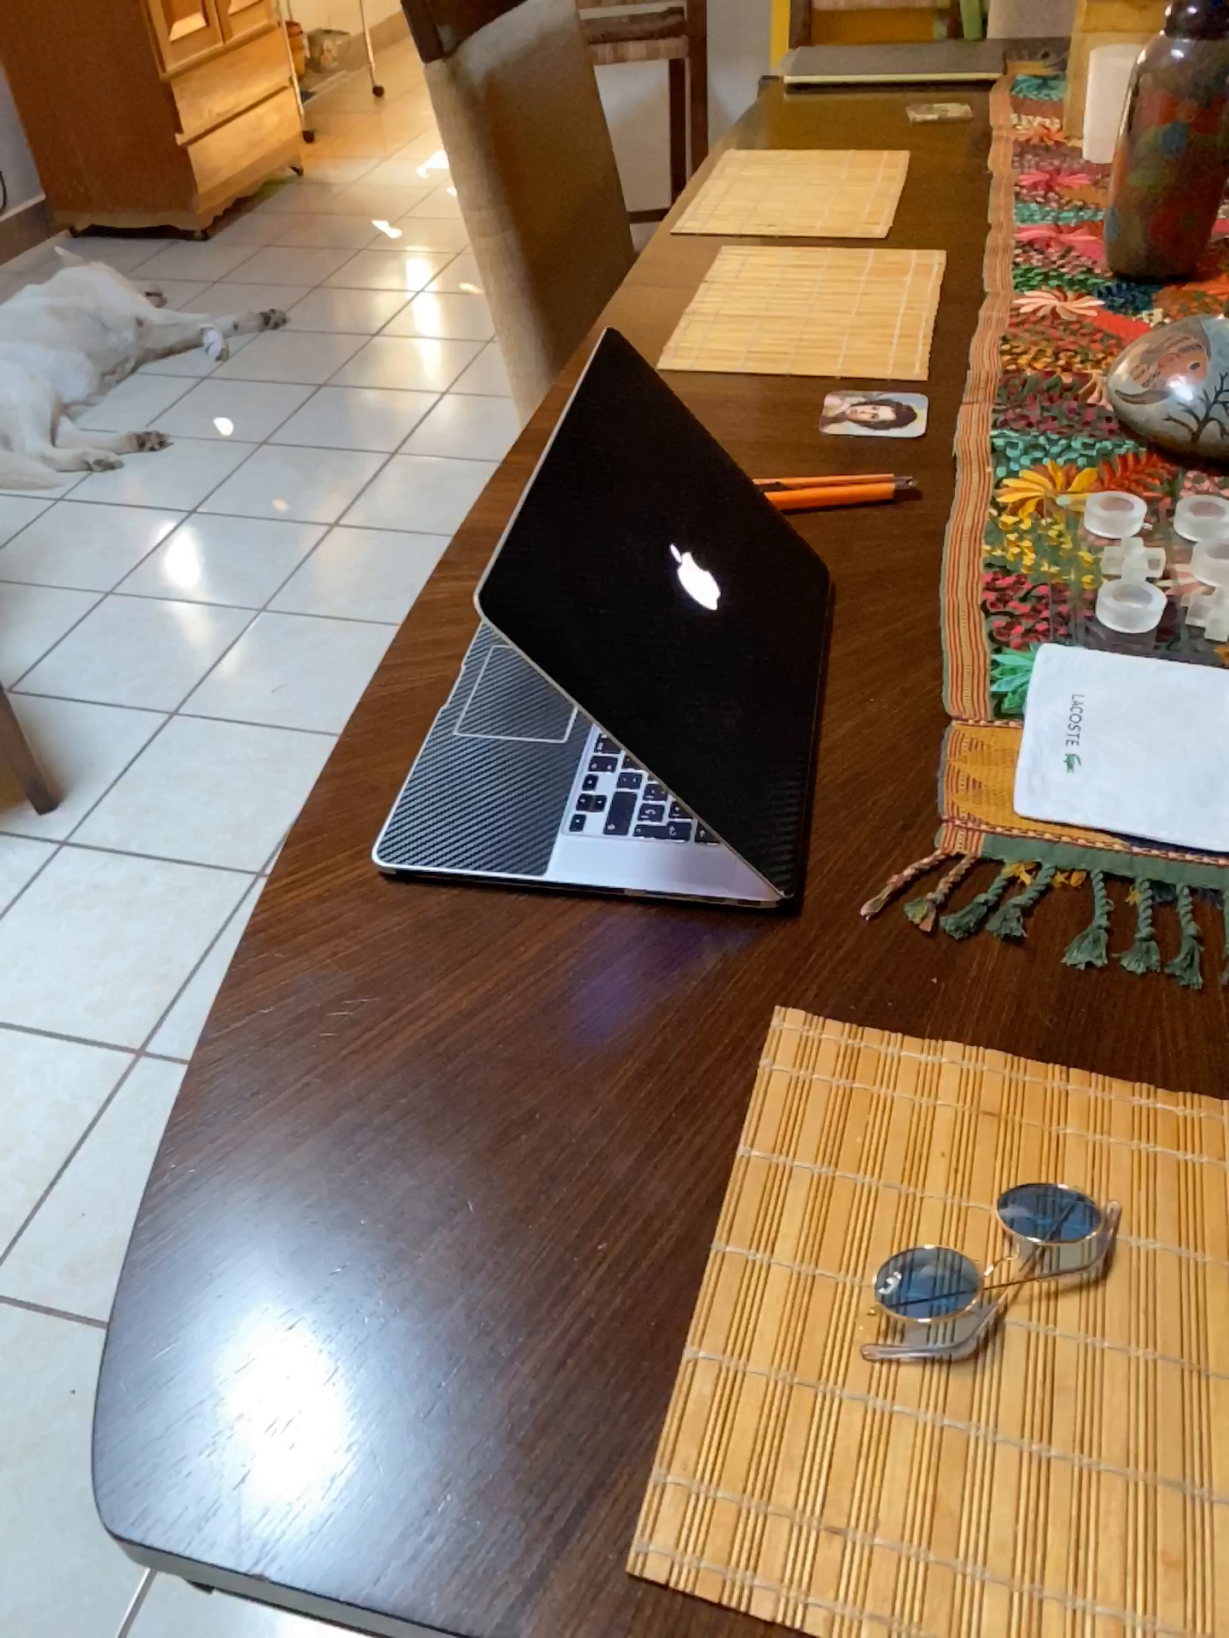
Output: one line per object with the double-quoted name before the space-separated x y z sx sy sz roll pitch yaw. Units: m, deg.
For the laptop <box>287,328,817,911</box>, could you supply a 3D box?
"laptop" -0.008 -0.145 0.780 0.235 0.181 0.356 5 42 10
